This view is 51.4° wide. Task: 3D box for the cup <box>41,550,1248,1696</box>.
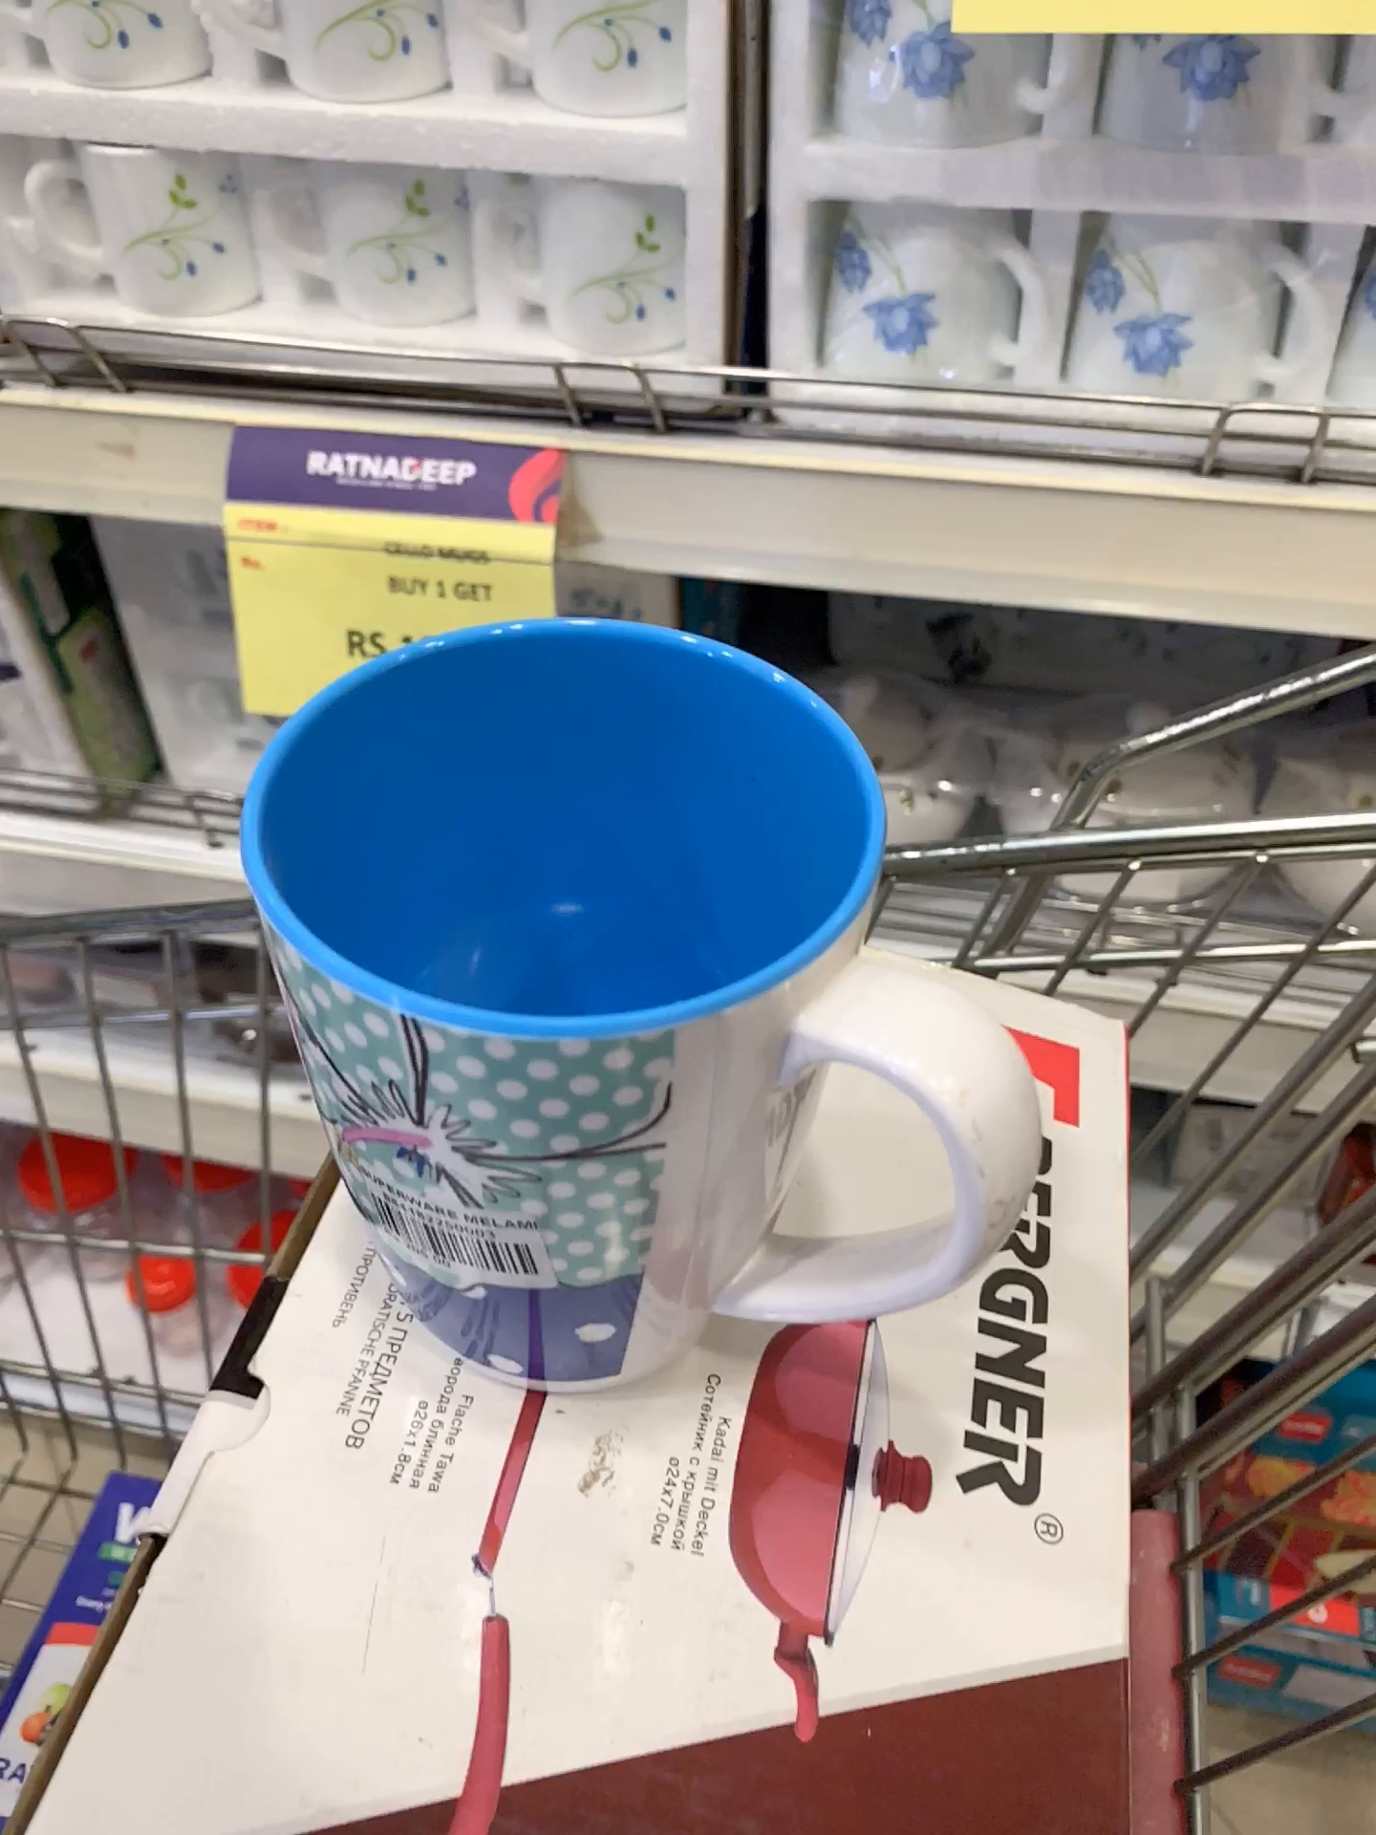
[{"bbox_3d":[-0.004,0.025,0.205,0.120,0.100,0.080,21,48,19],"label":"cup"}]
